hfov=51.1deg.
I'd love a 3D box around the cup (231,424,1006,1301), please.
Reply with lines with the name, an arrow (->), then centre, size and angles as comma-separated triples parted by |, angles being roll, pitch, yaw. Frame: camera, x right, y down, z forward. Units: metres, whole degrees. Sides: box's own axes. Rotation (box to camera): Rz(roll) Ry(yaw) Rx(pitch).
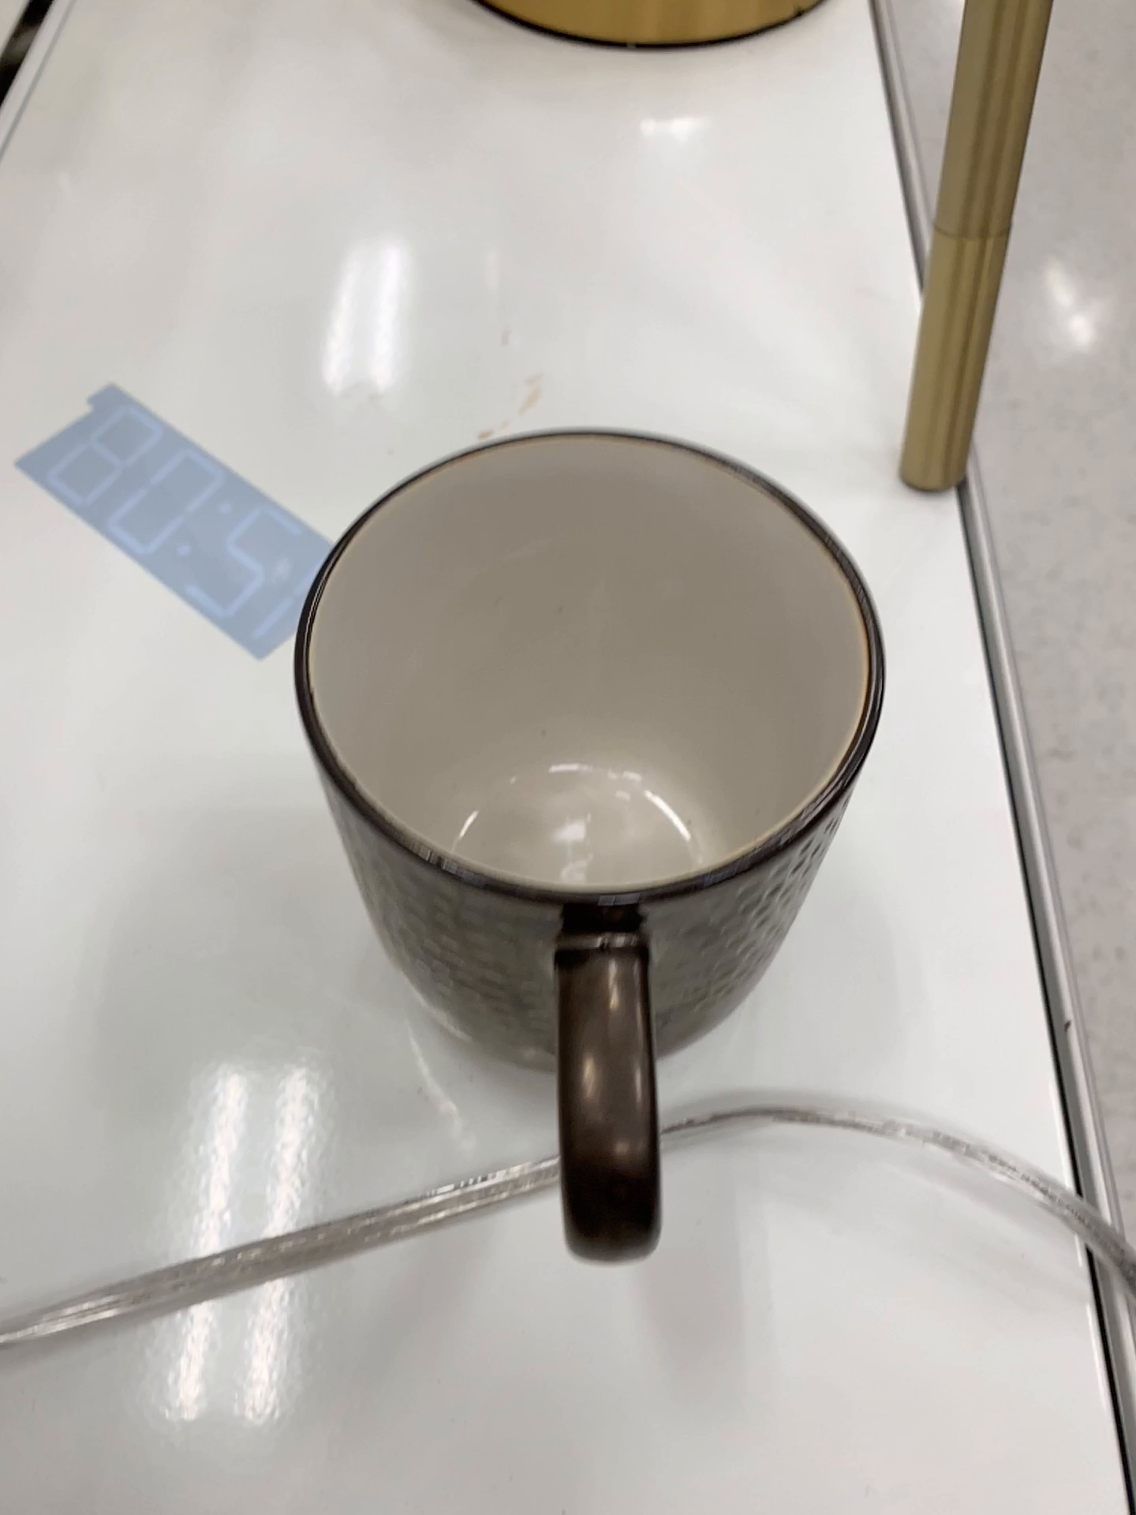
cup -> 0.004, 0.021, 0.218 | 0.095, 0.093, 0.131 | -1, 59, -2
